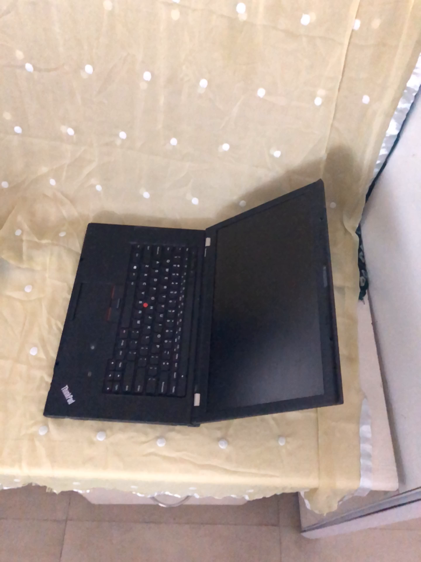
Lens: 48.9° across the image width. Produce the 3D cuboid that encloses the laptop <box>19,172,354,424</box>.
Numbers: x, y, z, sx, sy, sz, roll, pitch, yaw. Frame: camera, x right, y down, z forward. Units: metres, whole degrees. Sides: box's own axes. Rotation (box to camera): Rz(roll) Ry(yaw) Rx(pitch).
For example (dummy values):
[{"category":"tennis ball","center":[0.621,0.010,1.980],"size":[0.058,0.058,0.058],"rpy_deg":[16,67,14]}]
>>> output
[{"category":"laptop","center":[-0.030,0.018,0.737],"size":[0.424,0.156,0.349],"rpy_deg":[2,59,2]}]
